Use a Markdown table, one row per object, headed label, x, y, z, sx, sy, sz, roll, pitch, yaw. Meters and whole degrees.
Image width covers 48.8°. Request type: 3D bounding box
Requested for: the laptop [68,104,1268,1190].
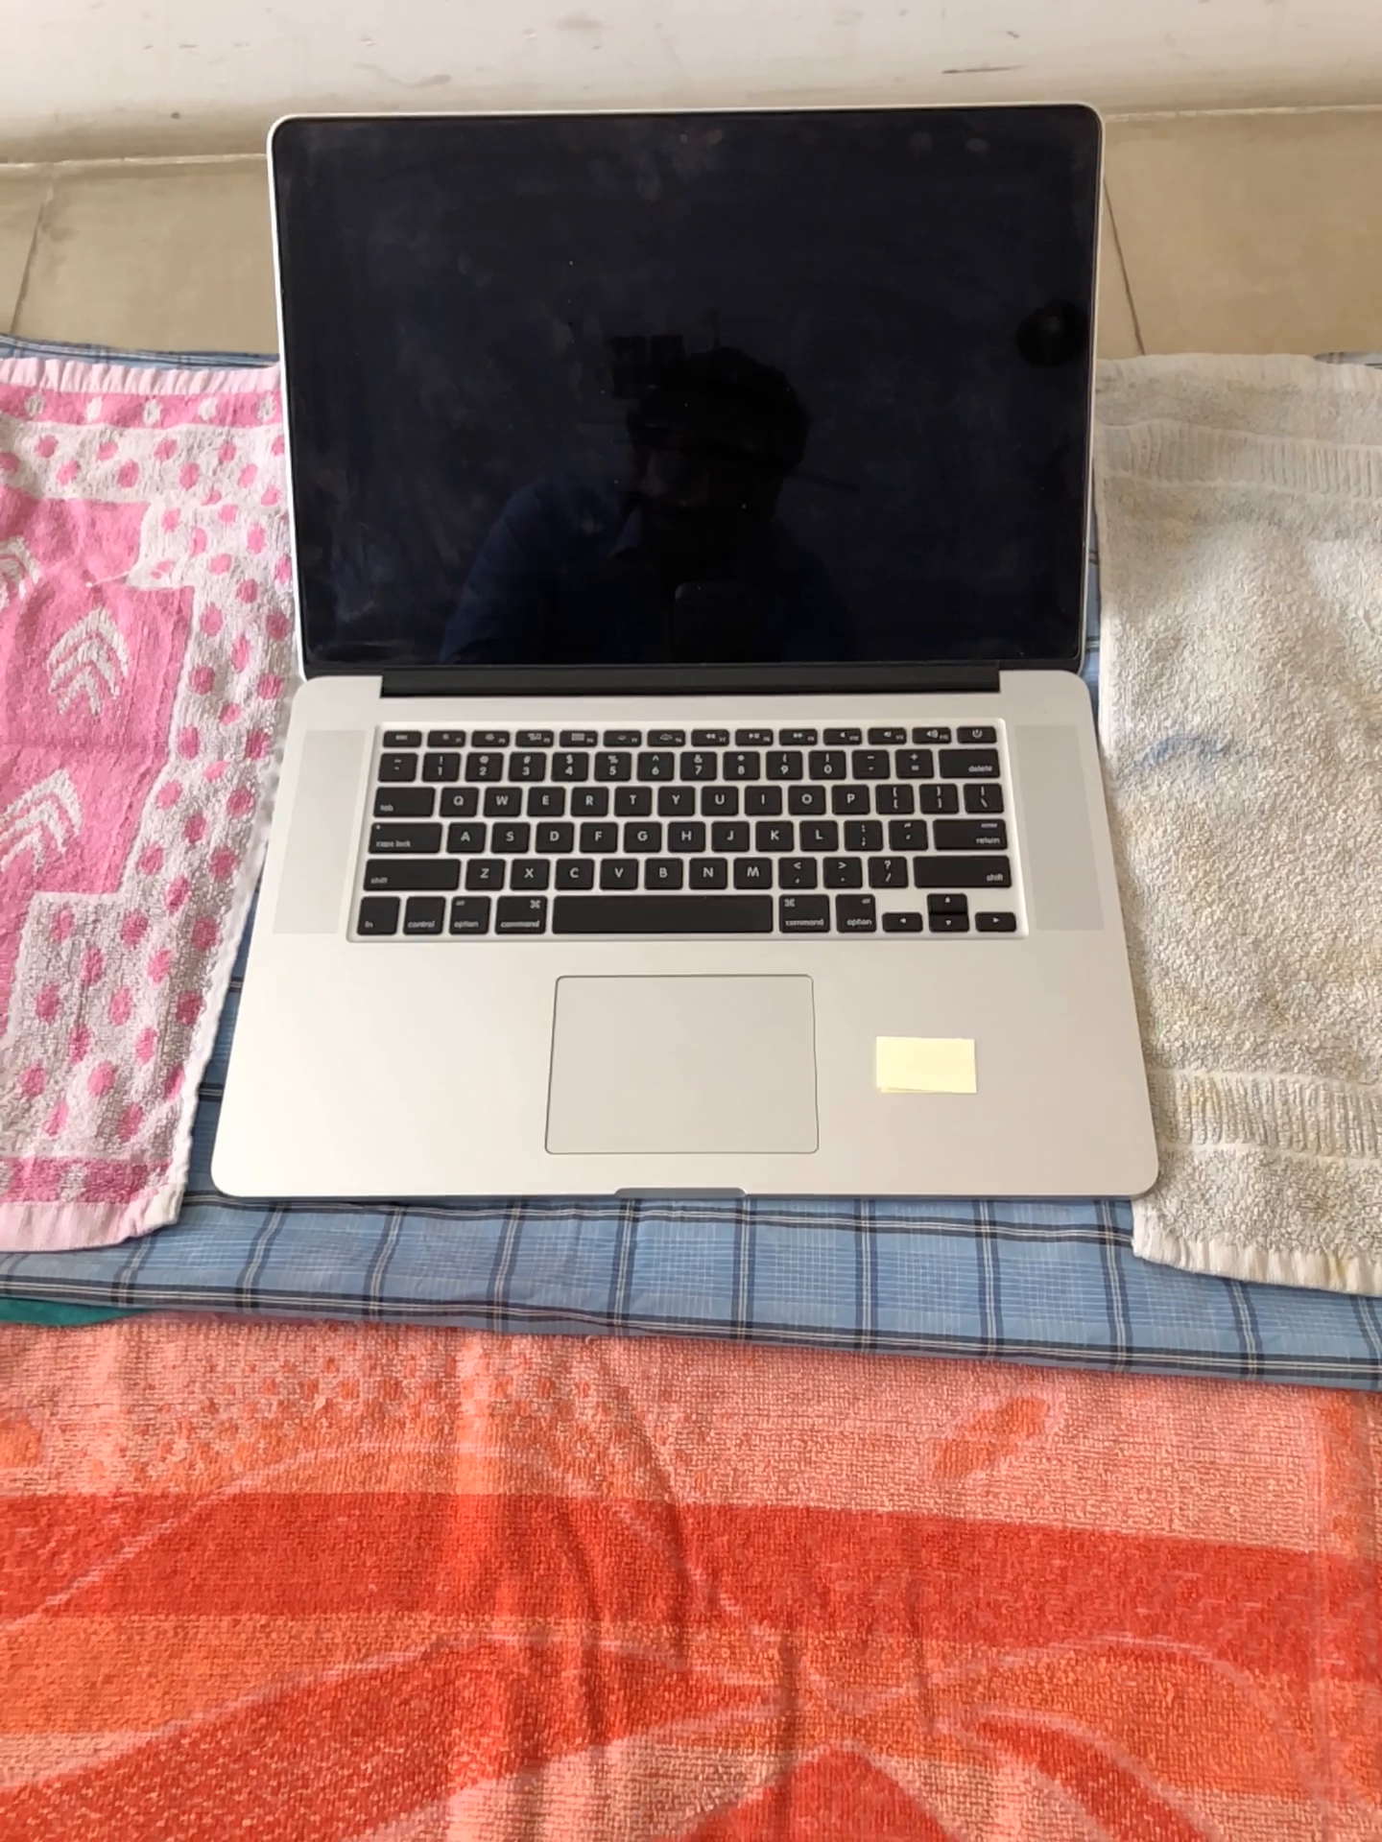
| label | x | y | z | sx | sy | sz | roll | pitch | yaw |
| --- | --- | --- | --- | --- | --- | --- | --- | --- | --- |
| laptop | -0.003 | -0.117 | 0.597 | 0.343 | 0.144 | 0.414 | -1 | 61 | 3 |
